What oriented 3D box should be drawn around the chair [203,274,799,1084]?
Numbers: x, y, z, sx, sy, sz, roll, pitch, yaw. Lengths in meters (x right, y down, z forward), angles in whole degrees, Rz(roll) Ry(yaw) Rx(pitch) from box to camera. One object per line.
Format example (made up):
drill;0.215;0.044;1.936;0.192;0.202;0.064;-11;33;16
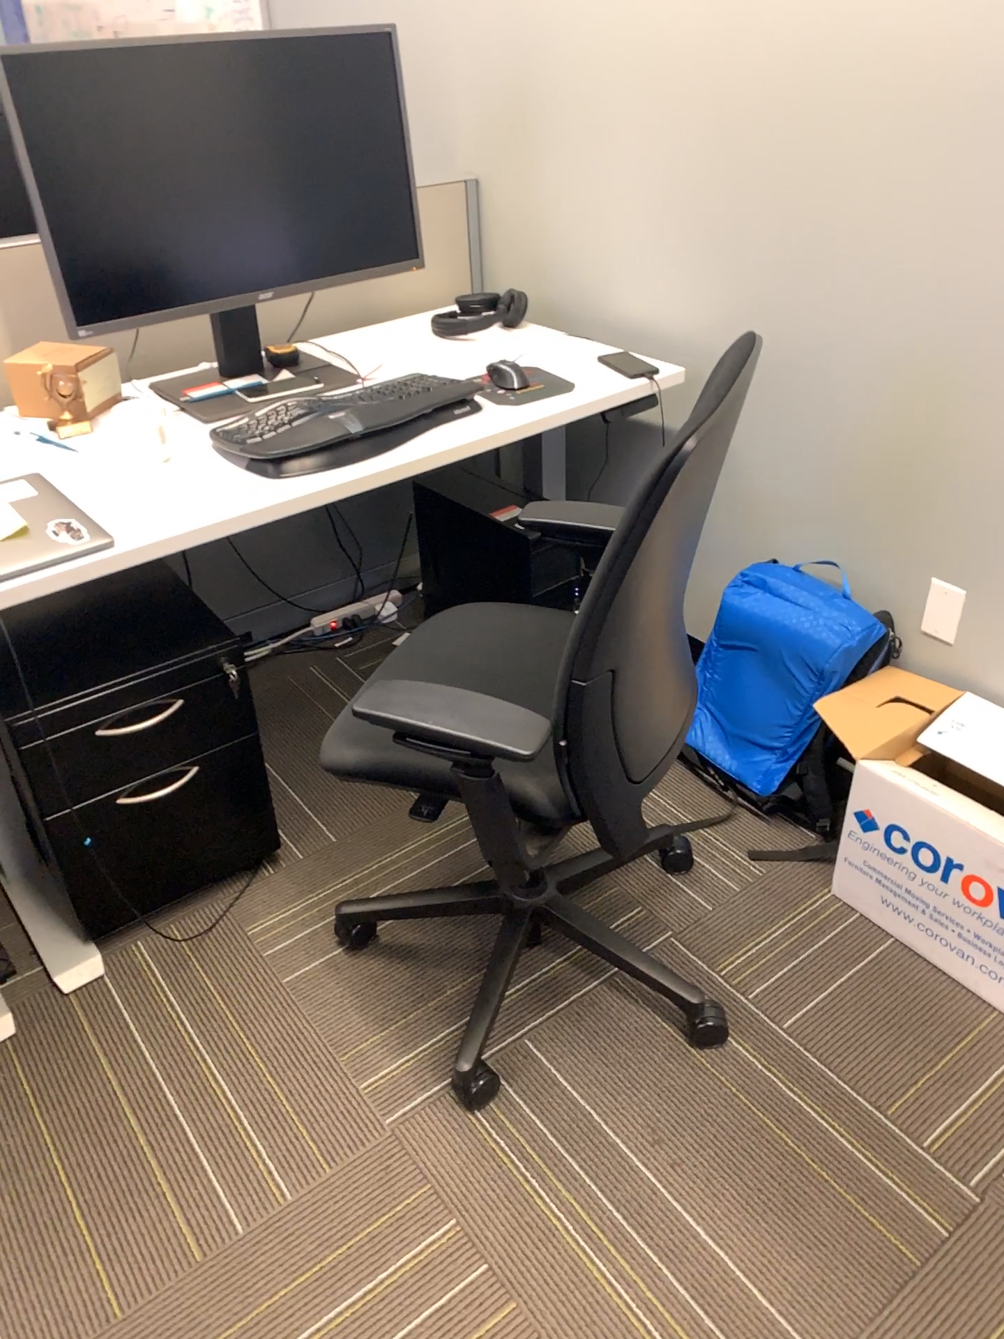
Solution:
chair;0.085;-0.044;1.668;0.611;0.944;0.834;8;35;15
